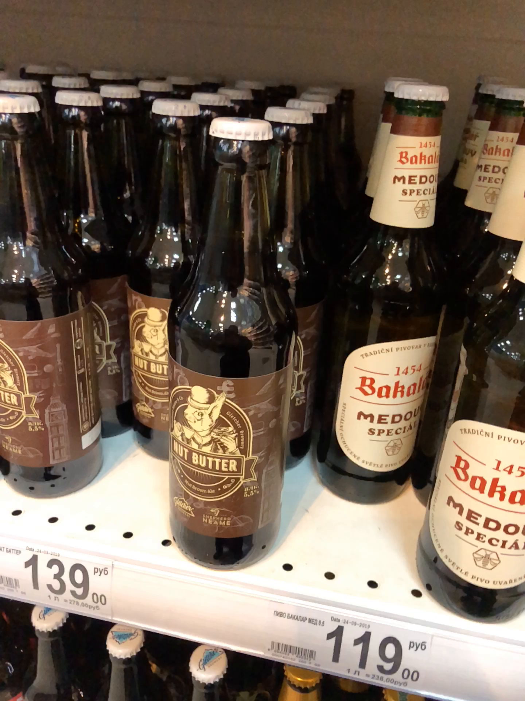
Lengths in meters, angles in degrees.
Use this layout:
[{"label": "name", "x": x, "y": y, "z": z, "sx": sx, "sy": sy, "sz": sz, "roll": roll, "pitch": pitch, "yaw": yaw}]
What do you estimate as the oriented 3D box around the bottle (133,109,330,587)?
[{"label": "bottle", "x": -0.018, "y": 0.006, "z": 0.310, "sx": 0.070, "sy": 0.240, "sz": 0.060, "roll": 11, "pitch": 27, "yaw": 15}]
